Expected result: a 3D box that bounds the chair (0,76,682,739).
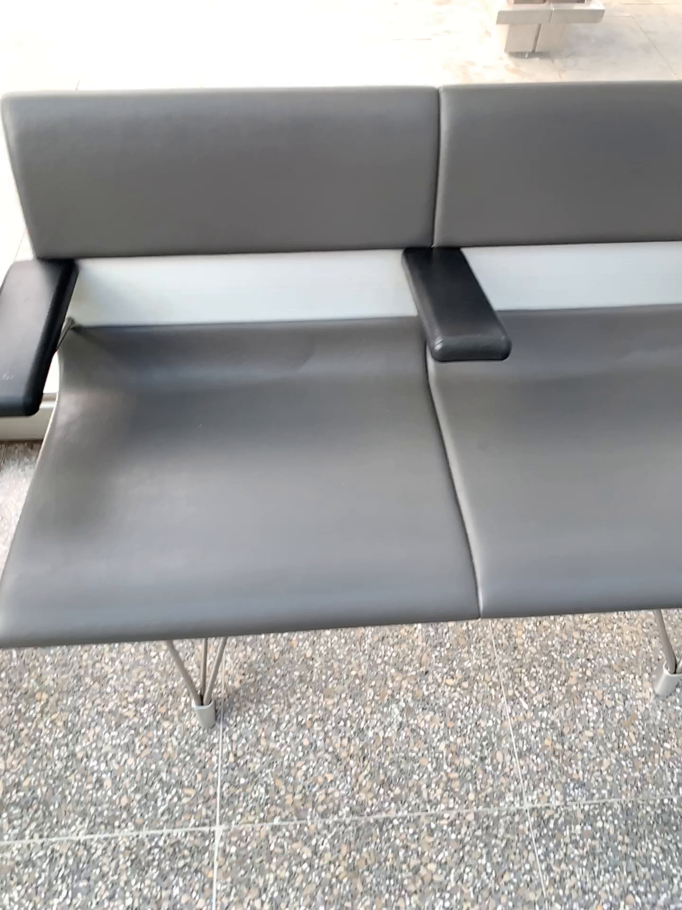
[{"bbox_3d":[0.124,-0.079,1.178,1.200,0.714,0.827,-2,53,-3],"label":"chair"}]
